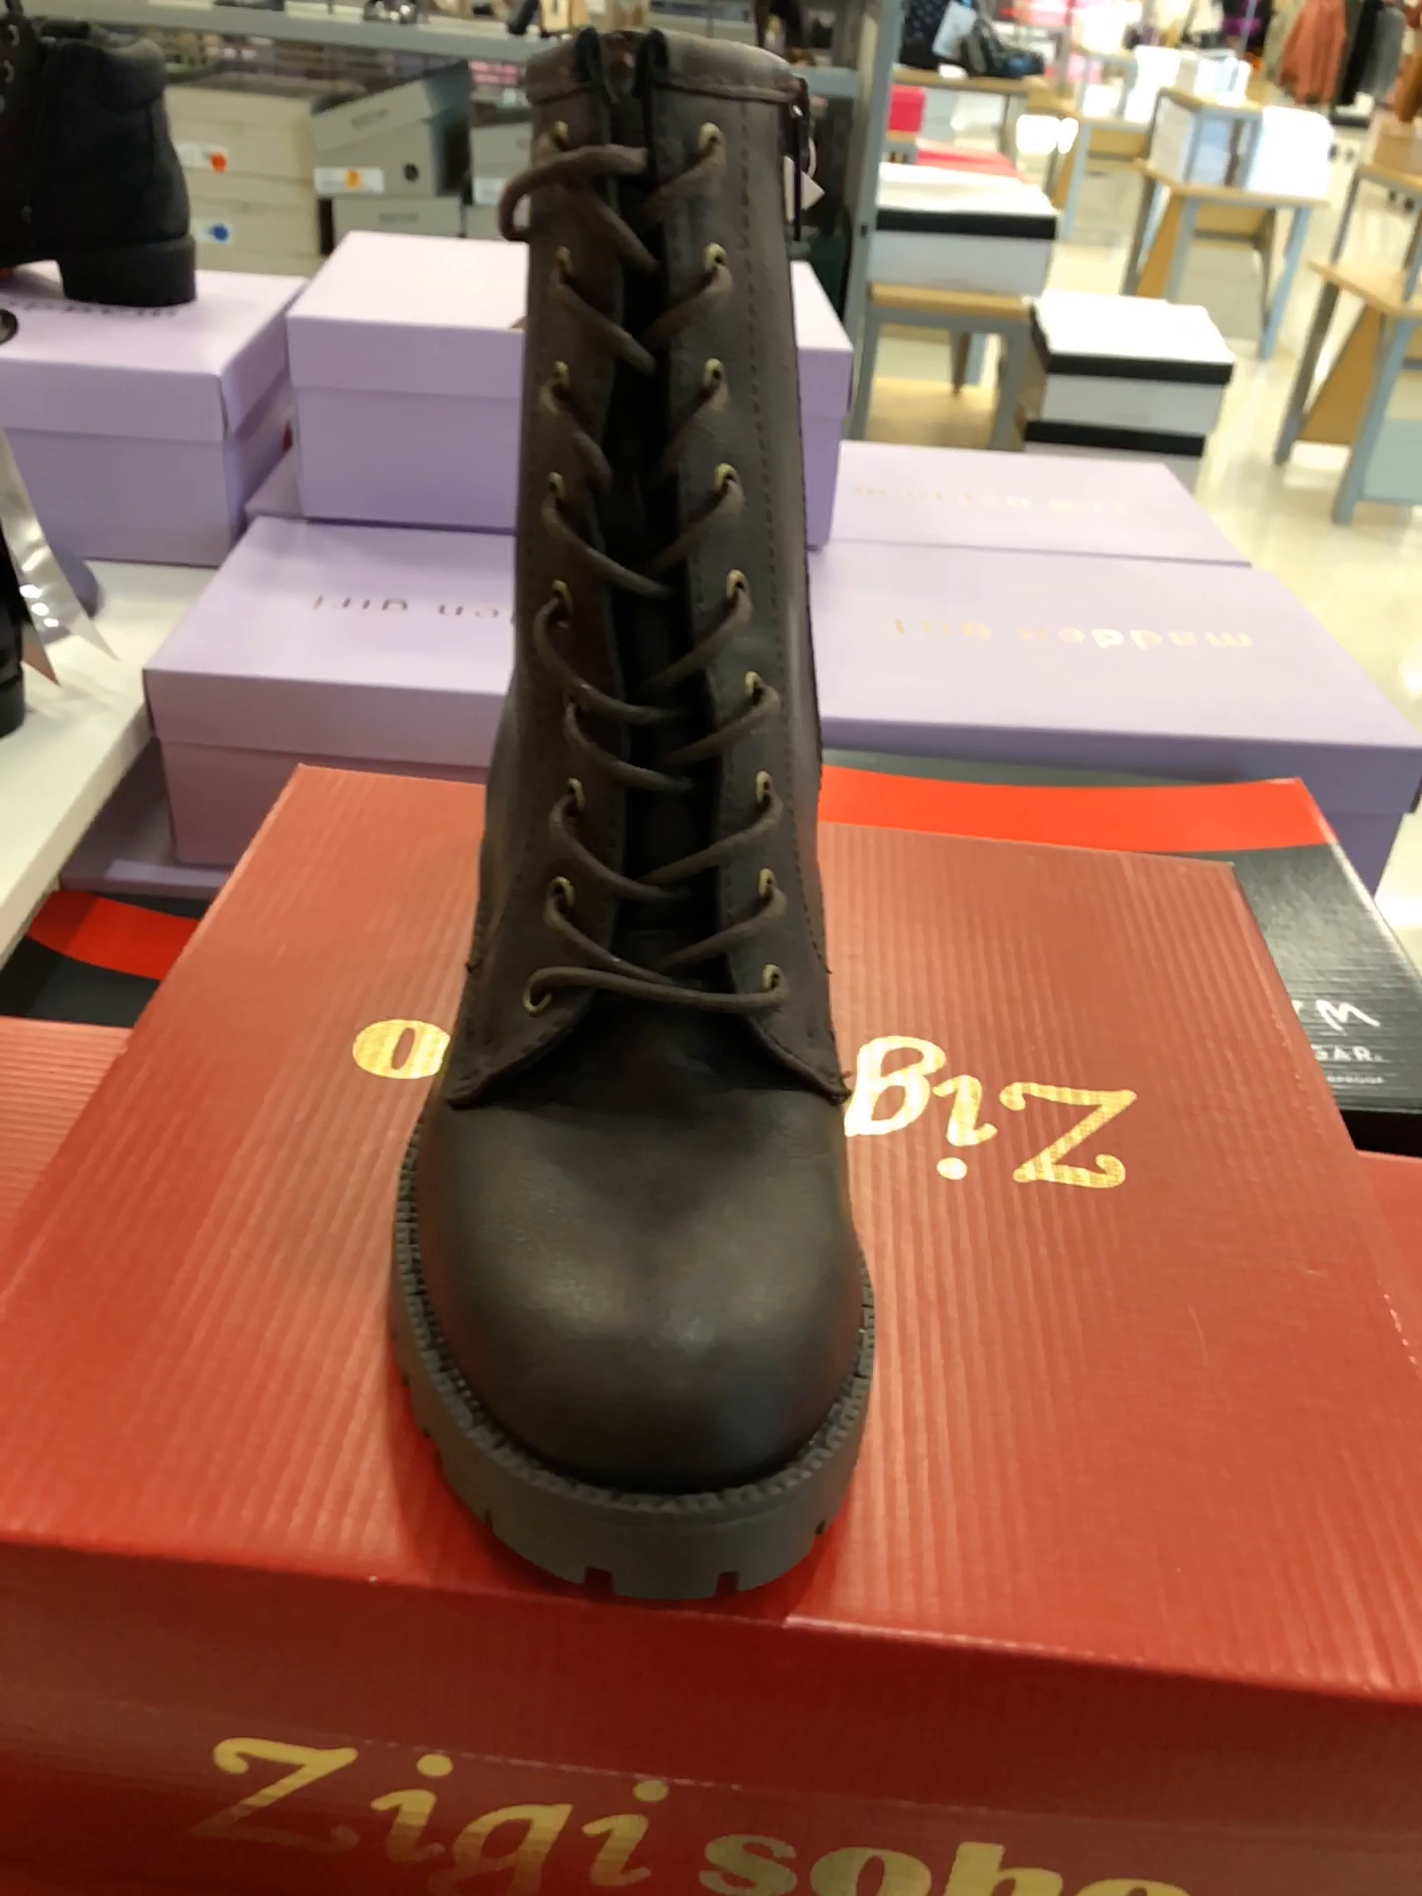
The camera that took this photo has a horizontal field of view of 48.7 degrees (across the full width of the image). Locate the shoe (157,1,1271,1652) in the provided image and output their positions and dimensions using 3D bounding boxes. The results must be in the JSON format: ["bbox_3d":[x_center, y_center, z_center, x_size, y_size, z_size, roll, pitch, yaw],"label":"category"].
[{"bbox_3d":[-0.013,-0.043,0.300,0.100,0.218,0.242,3,33,-5],"label":"shoe"}]
